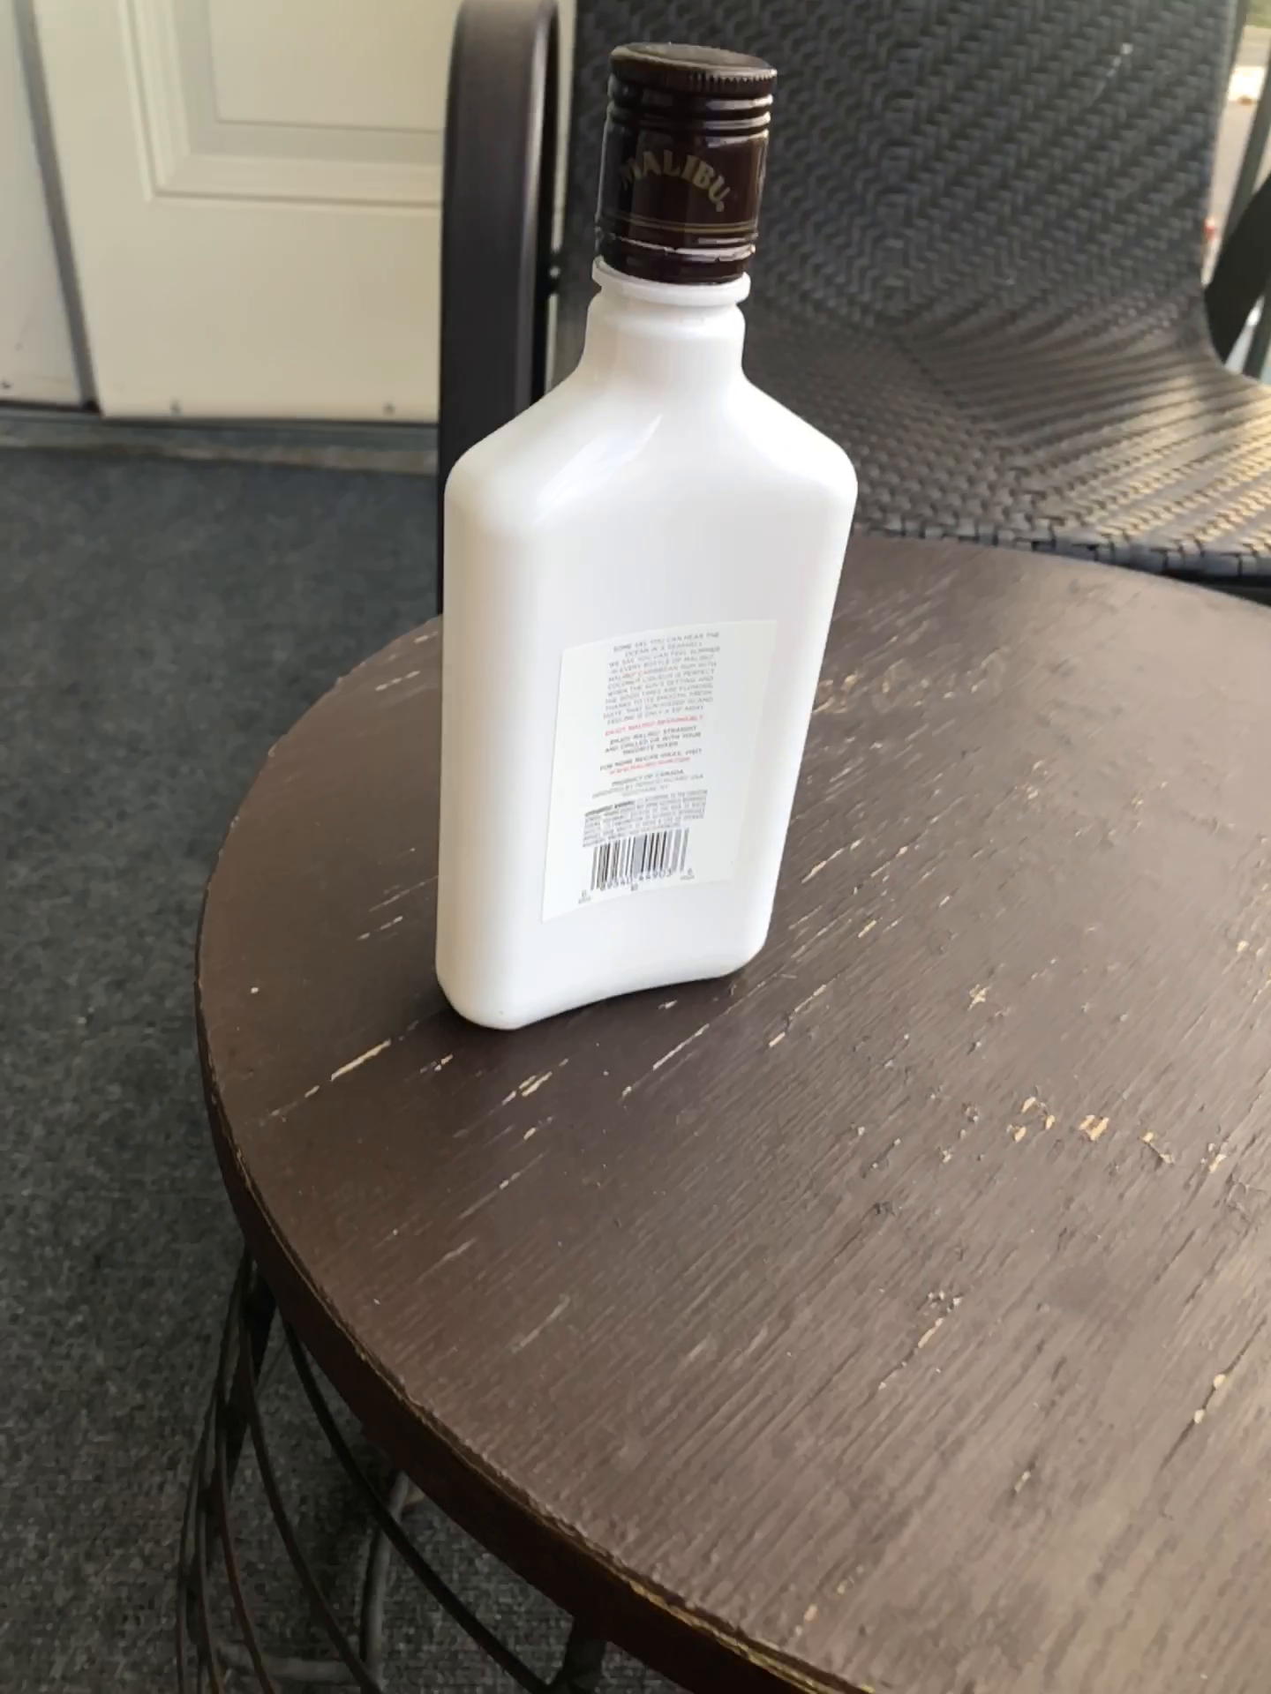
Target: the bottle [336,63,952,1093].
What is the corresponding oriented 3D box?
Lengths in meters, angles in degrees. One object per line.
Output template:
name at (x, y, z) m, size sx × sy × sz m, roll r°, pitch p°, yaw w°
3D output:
bottle at (-0.003, -0.050, 0.311) m, size 0.100 × 0.210 × 0.045 m, roll -14°, pitch 39°, yaw -23°
